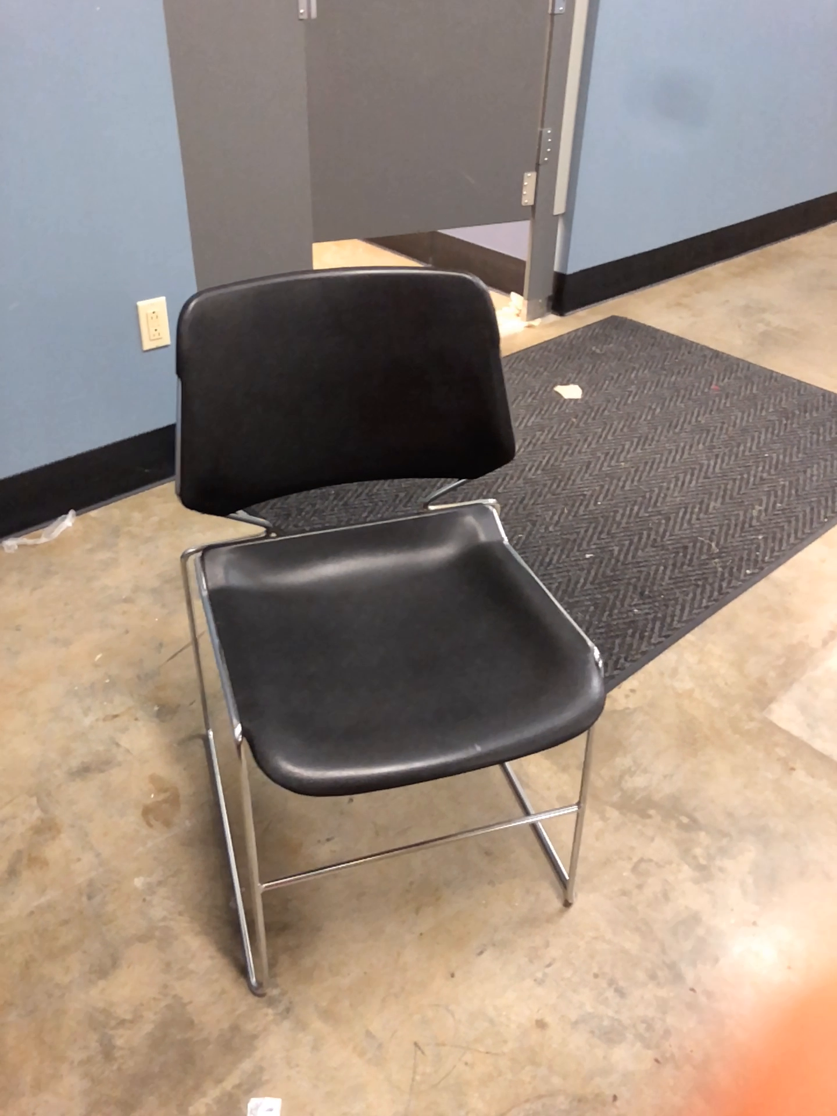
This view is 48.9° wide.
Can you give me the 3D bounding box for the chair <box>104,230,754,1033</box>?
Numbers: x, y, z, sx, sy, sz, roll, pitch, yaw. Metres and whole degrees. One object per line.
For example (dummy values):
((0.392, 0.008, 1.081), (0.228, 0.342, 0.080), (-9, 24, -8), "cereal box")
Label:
((-0.047, 0.065, 1.180), (0.524, 0.765, 0.552), (-10, 37, -16), "chair")
